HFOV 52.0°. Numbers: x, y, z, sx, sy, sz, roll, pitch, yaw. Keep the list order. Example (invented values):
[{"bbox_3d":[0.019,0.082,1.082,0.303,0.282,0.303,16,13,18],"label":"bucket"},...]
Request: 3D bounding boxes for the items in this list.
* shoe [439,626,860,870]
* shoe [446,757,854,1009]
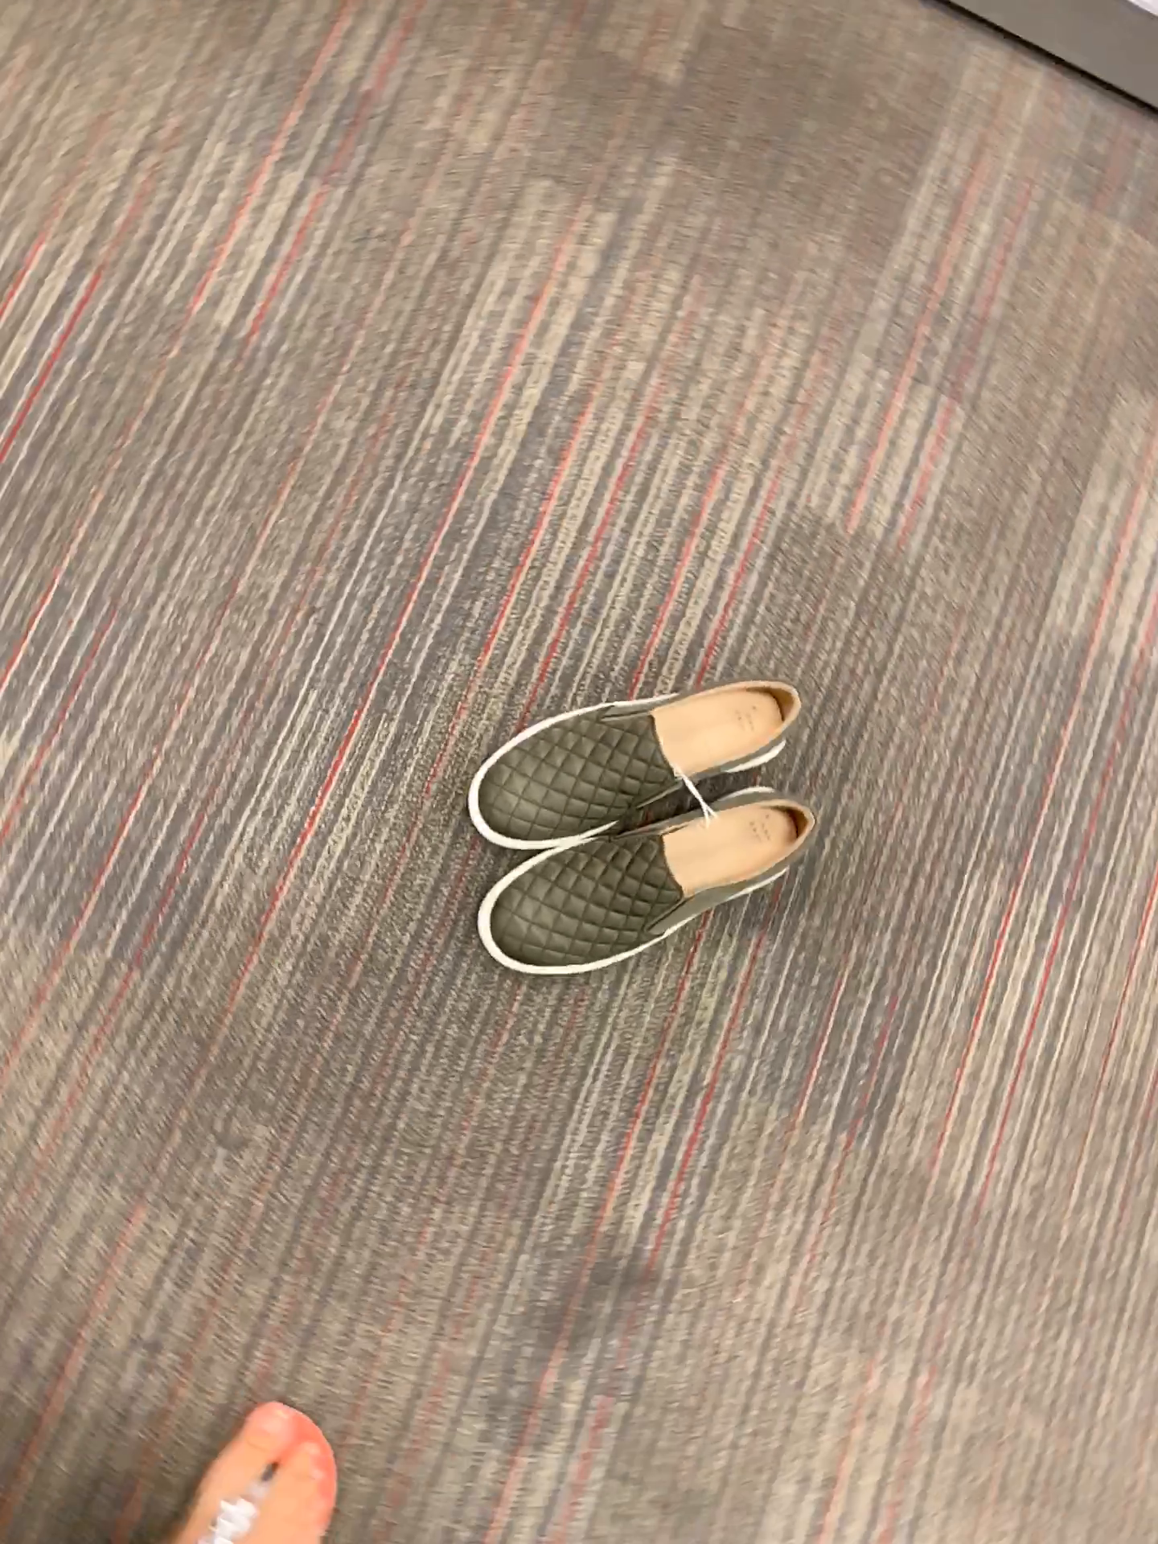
[{"bbox_3d":[0.049,-0.016,0.930,0.290,0.130,0.100,-16,85,-12],"label":"shoe"},{"bbox_3d":[0.052,0.087,0.942,0.290,0.110,0.100,-18,86,-13],"label":"shoe"}]
